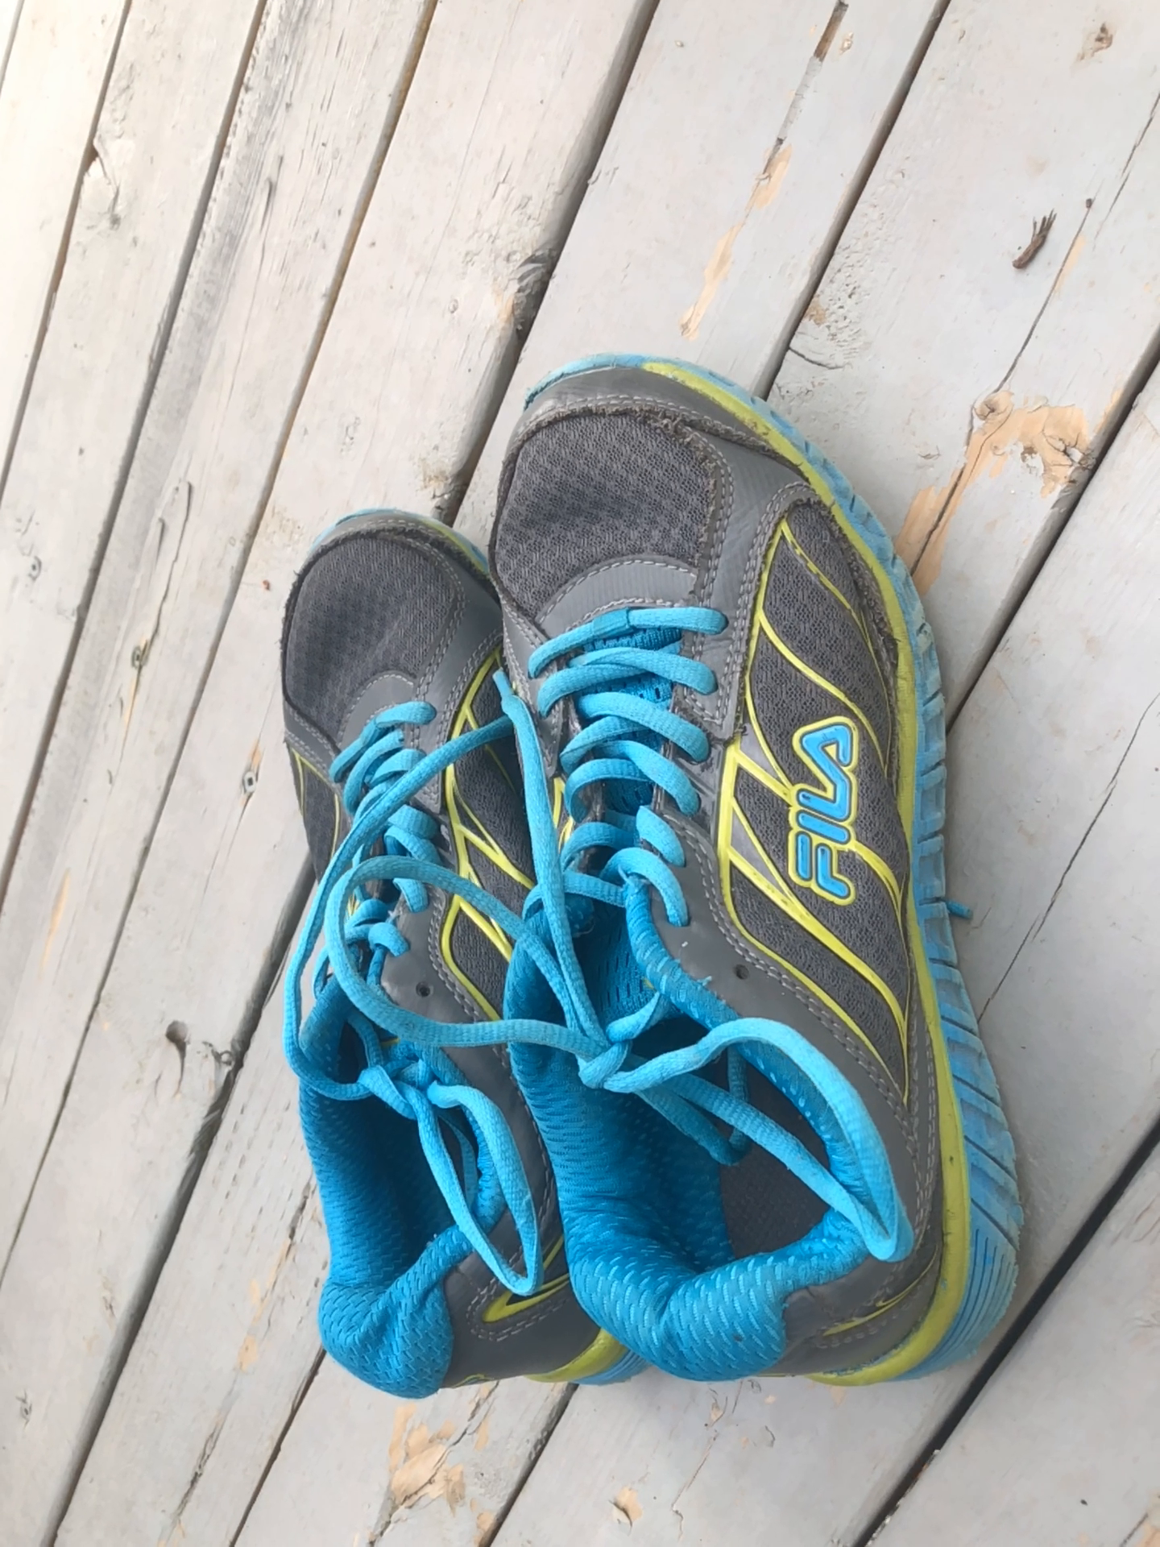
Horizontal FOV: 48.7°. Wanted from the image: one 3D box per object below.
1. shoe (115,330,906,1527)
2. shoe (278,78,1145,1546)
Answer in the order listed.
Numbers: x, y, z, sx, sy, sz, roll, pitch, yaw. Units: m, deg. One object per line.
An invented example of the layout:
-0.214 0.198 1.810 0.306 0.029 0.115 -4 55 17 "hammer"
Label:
-0.026 0.038 0.385 0.111 0.129 0.290 -25 76 41 "shoe"
0.022 0.014 0.296 0.111 0.090 0.280 -19 79 42 "shoe"
